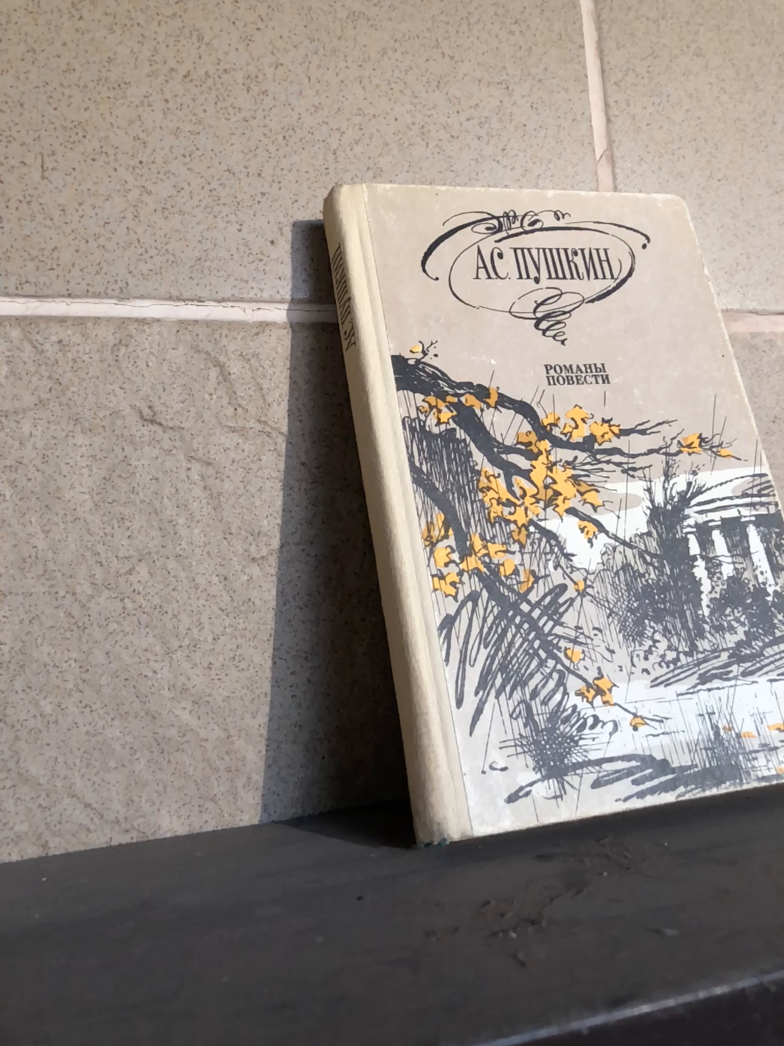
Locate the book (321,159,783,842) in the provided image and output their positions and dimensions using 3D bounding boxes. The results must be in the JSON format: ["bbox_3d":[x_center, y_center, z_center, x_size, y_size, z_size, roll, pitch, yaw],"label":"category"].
[{"bbox_3d":[0.054,-0.015,0.271,0.125,0.198,0.040,-3,-19,-16],"label":"book"}]
